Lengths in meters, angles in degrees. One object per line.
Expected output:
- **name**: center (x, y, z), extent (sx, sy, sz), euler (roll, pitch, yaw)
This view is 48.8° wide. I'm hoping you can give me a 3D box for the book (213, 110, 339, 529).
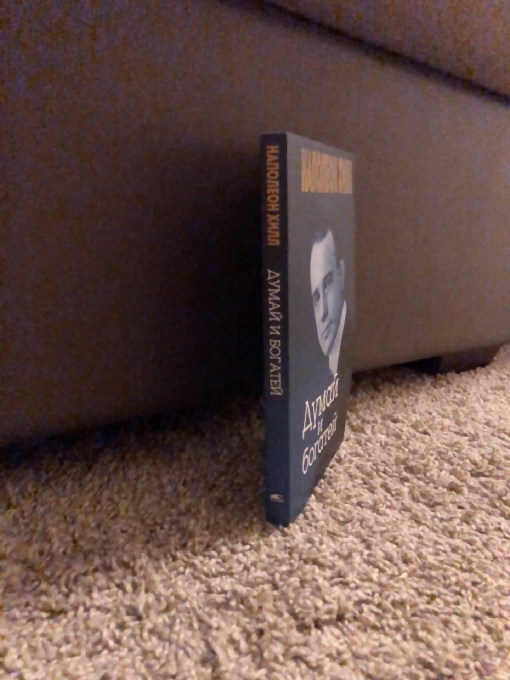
- **book**: center (0.019, -0.016, 0.329), extent (0.030, 0.198, 0.132), euler (3, 12, 20)
